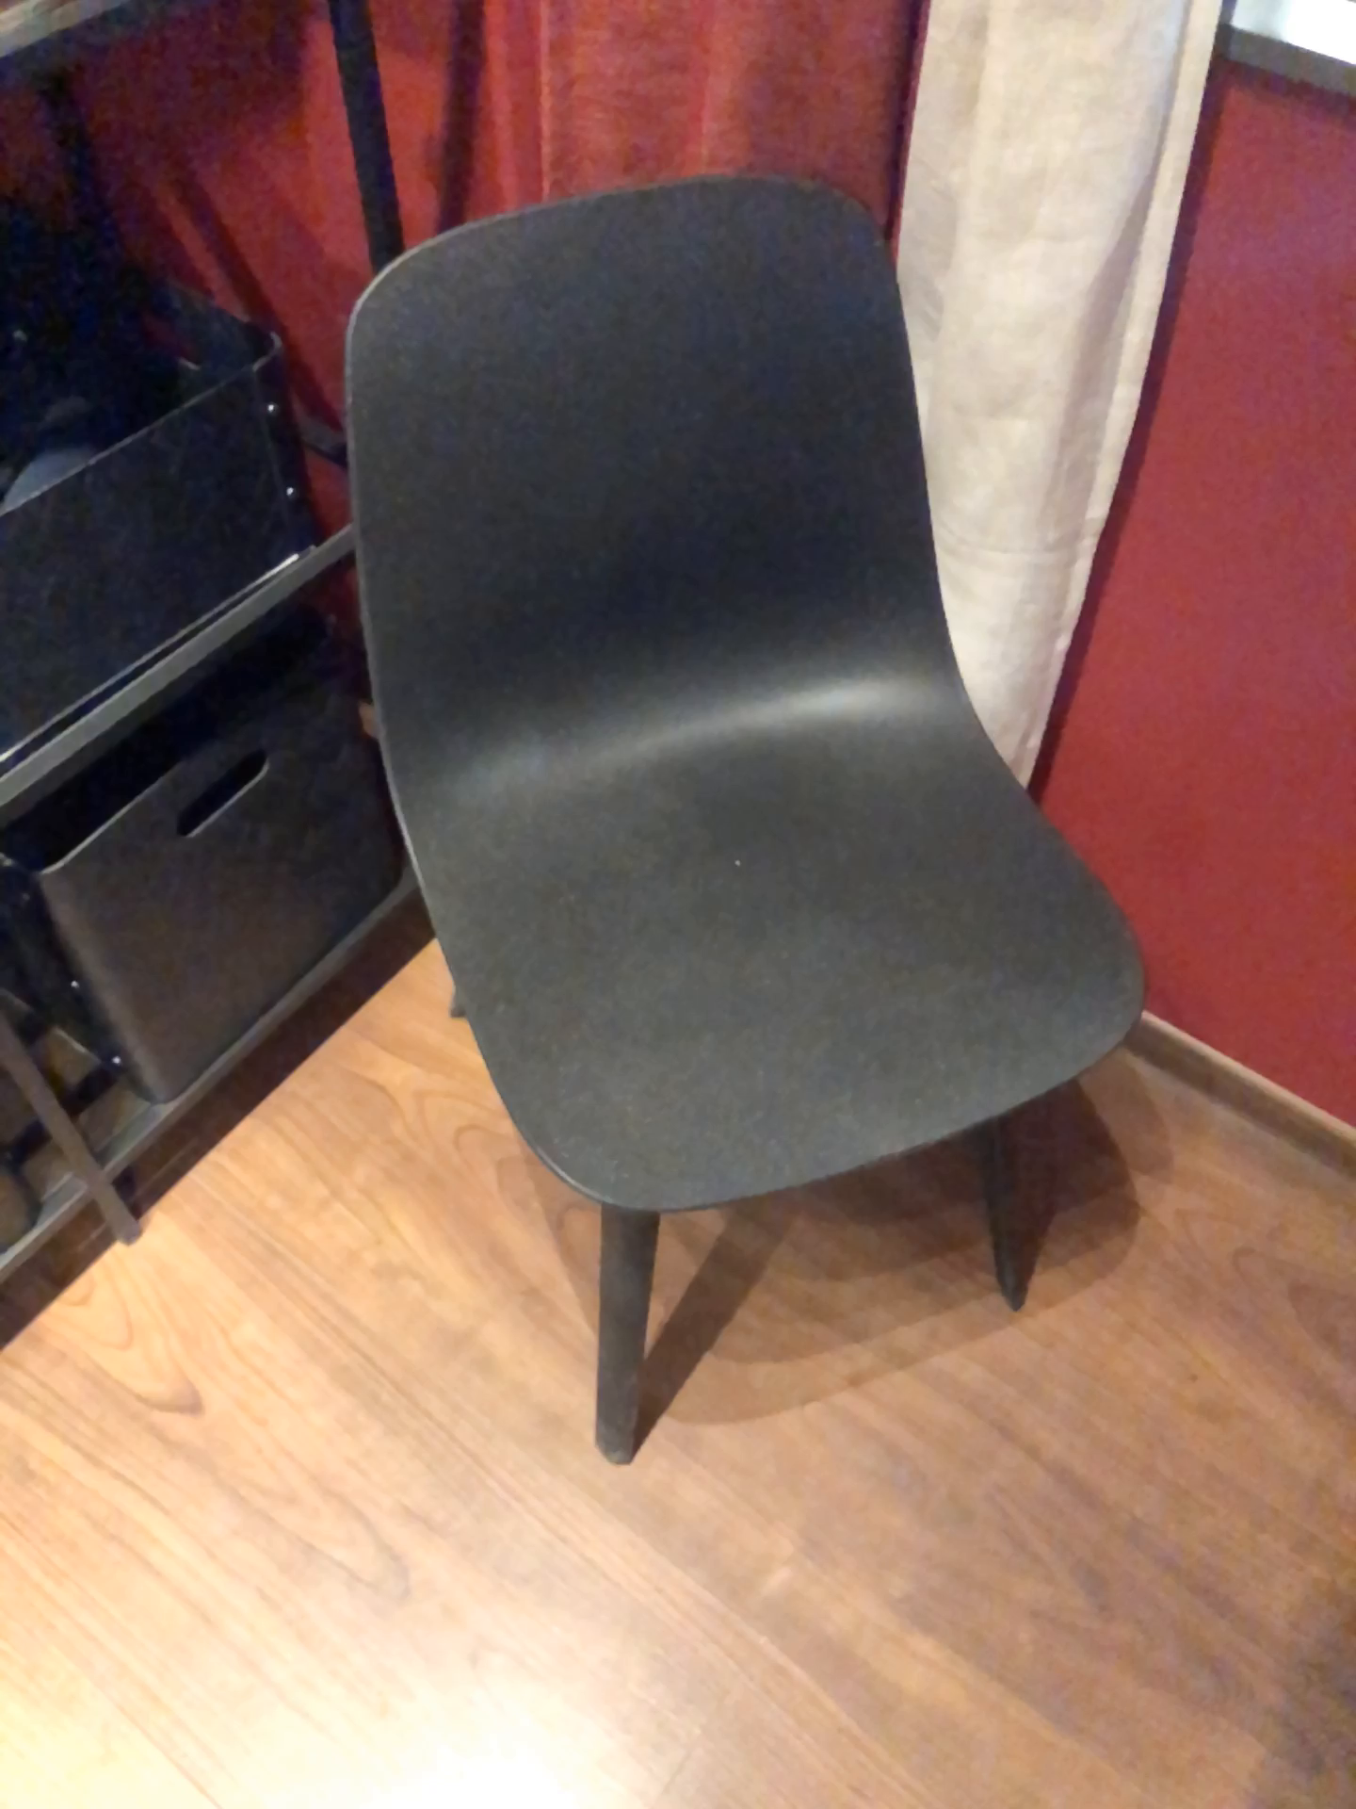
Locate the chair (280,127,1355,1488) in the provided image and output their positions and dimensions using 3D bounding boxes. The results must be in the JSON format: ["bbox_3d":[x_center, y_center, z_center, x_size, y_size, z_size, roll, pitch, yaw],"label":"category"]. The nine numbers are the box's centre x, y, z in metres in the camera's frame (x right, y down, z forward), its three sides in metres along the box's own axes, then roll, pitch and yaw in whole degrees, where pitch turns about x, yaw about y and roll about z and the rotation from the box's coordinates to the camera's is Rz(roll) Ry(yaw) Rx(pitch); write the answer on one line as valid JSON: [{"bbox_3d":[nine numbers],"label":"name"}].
[{"bbox_3d":[0.054,-0.019,1.019,0.410,0.726,0.482,-17,54,-13],"label":"chair"}]
